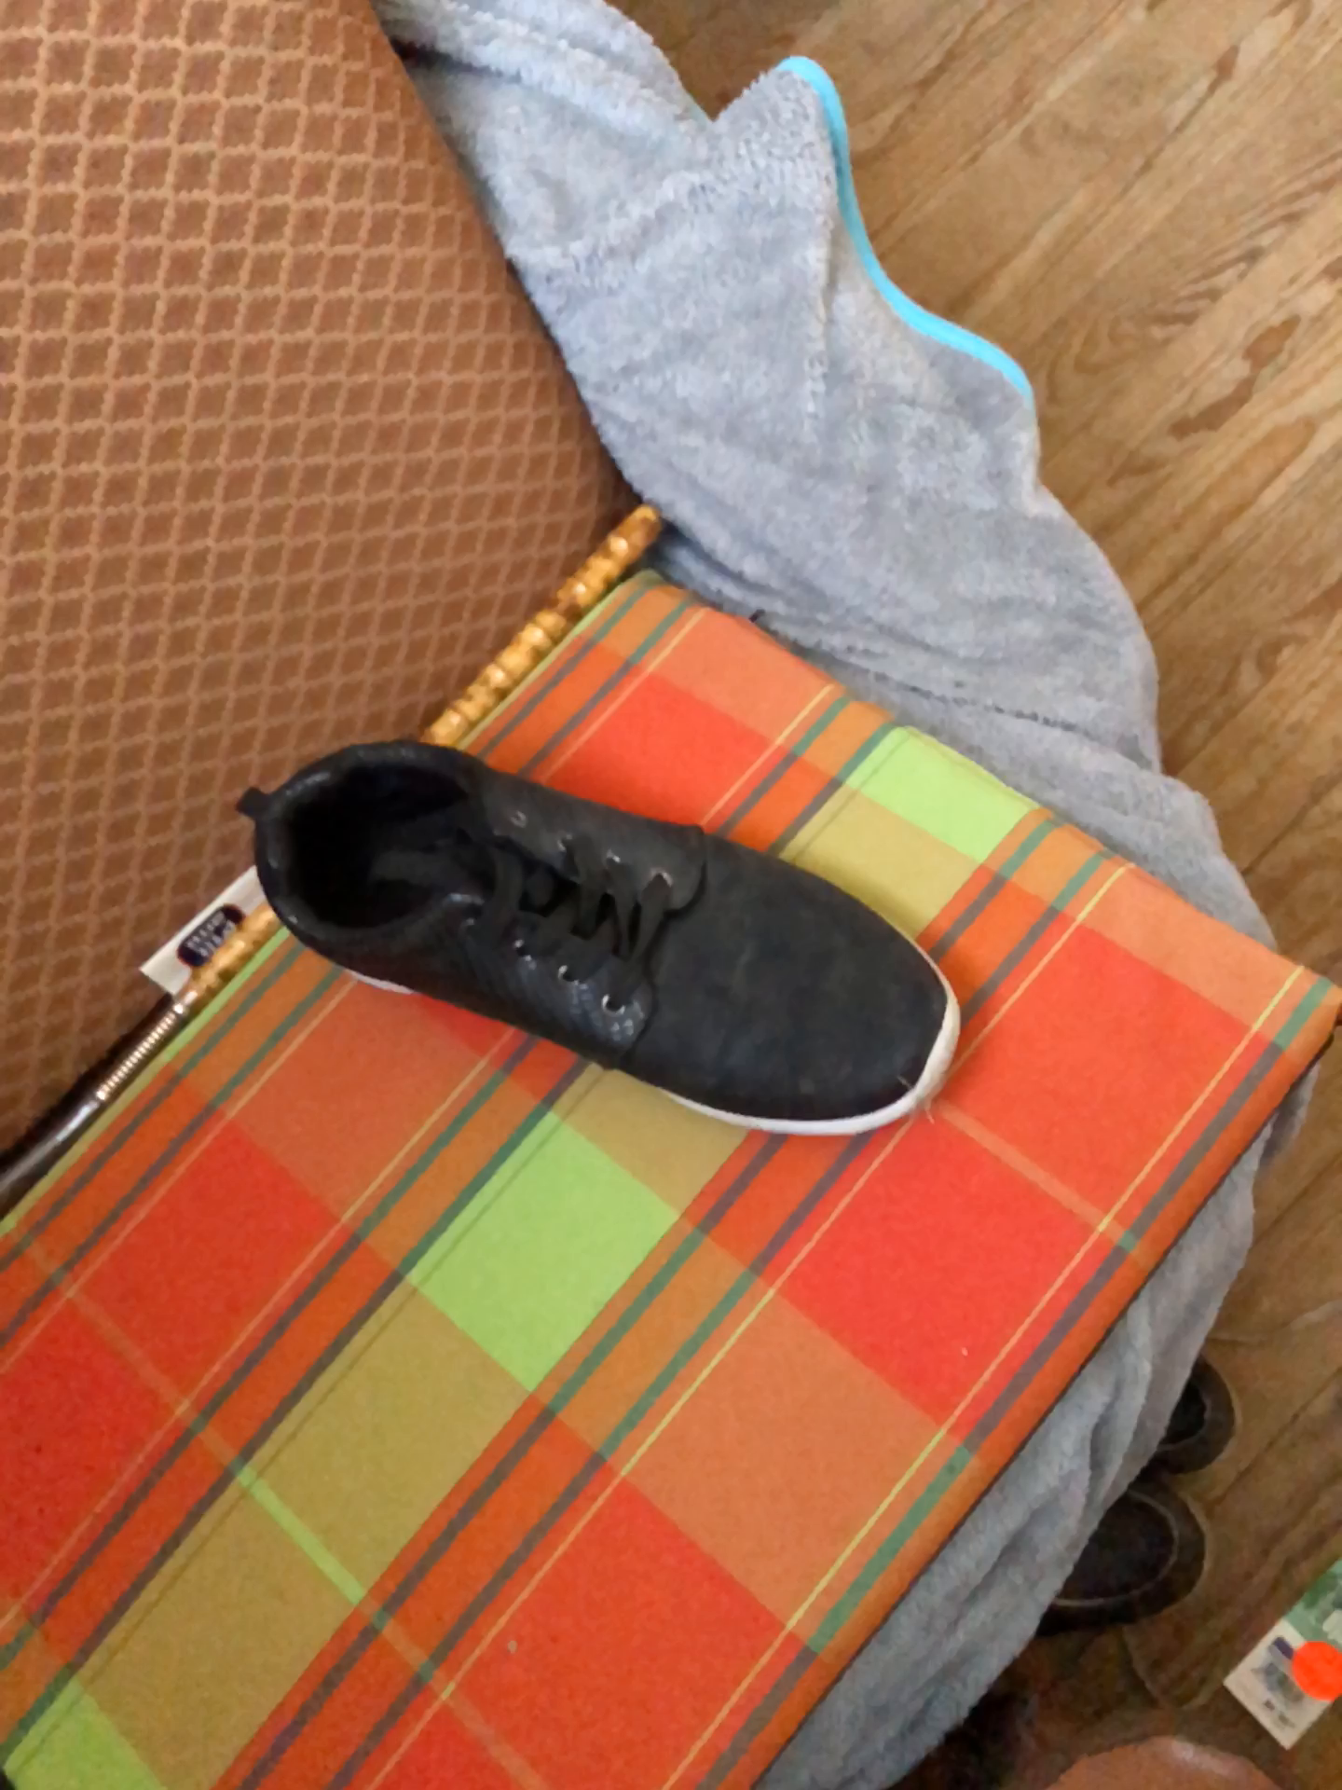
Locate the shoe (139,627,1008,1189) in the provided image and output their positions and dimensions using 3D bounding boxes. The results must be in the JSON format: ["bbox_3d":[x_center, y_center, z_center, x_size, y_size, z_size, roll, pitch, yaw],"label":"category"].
[{"bbox_3d":[-0.030,0.001,0.513,0.266,0.080,0.110,15,73,17],"label":"shoe"}]
